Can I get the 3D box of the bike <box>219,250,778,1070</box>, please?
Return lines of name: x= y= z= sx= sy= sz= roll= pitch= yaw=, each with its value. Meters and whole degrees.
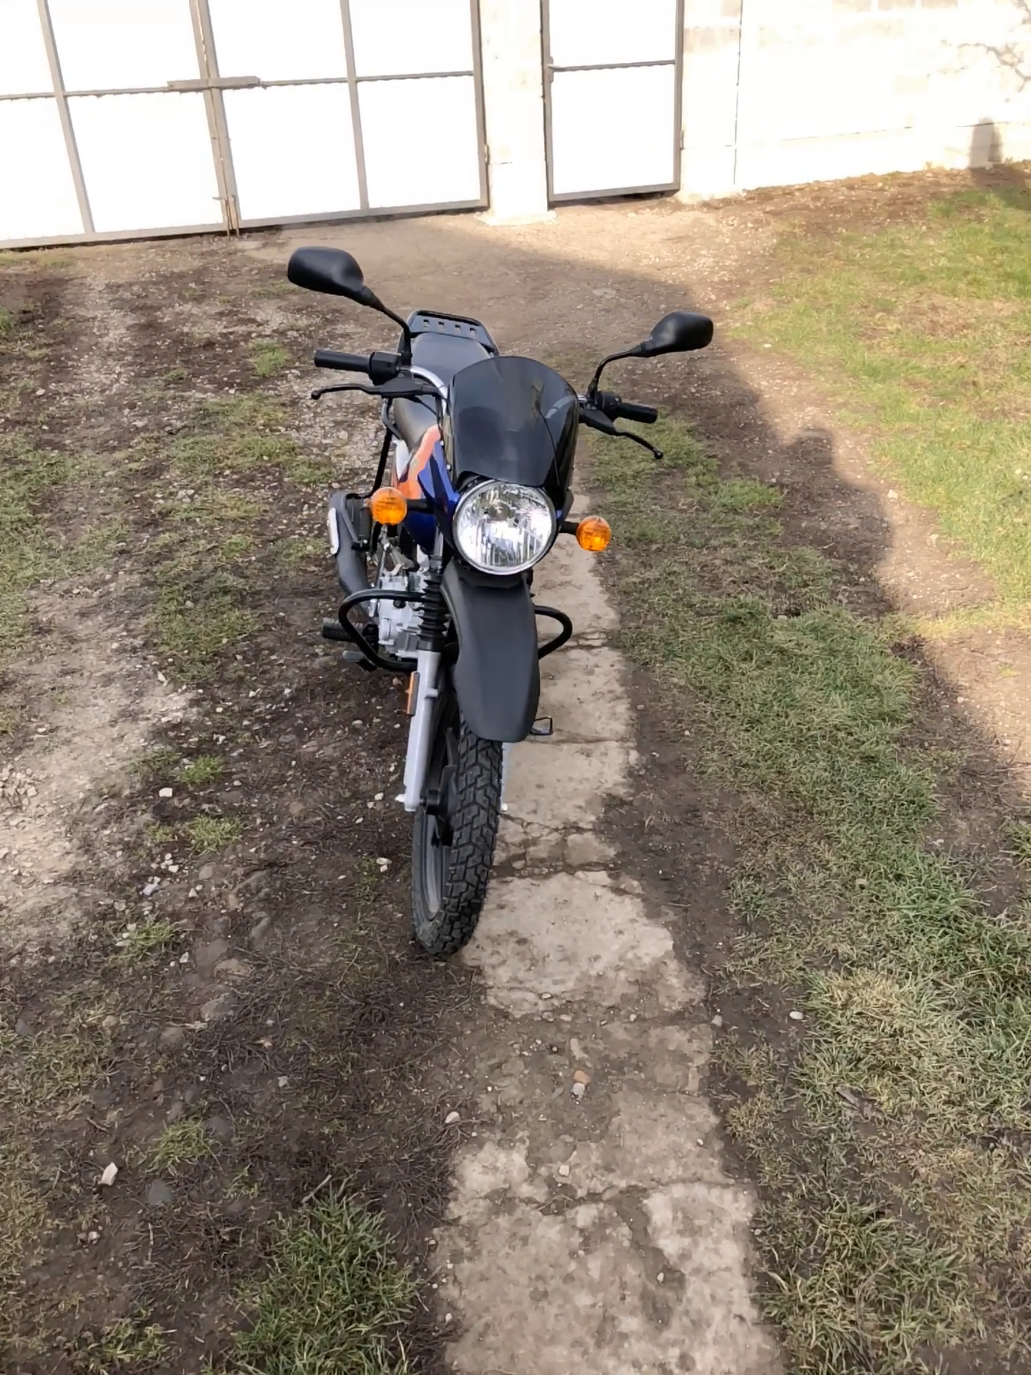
bike: x=-0.089 y=-0.259 z=2.631 sx=0.806 sy=1.049 sz=1.792 roll=-4 pitch=32 yaw=-4
